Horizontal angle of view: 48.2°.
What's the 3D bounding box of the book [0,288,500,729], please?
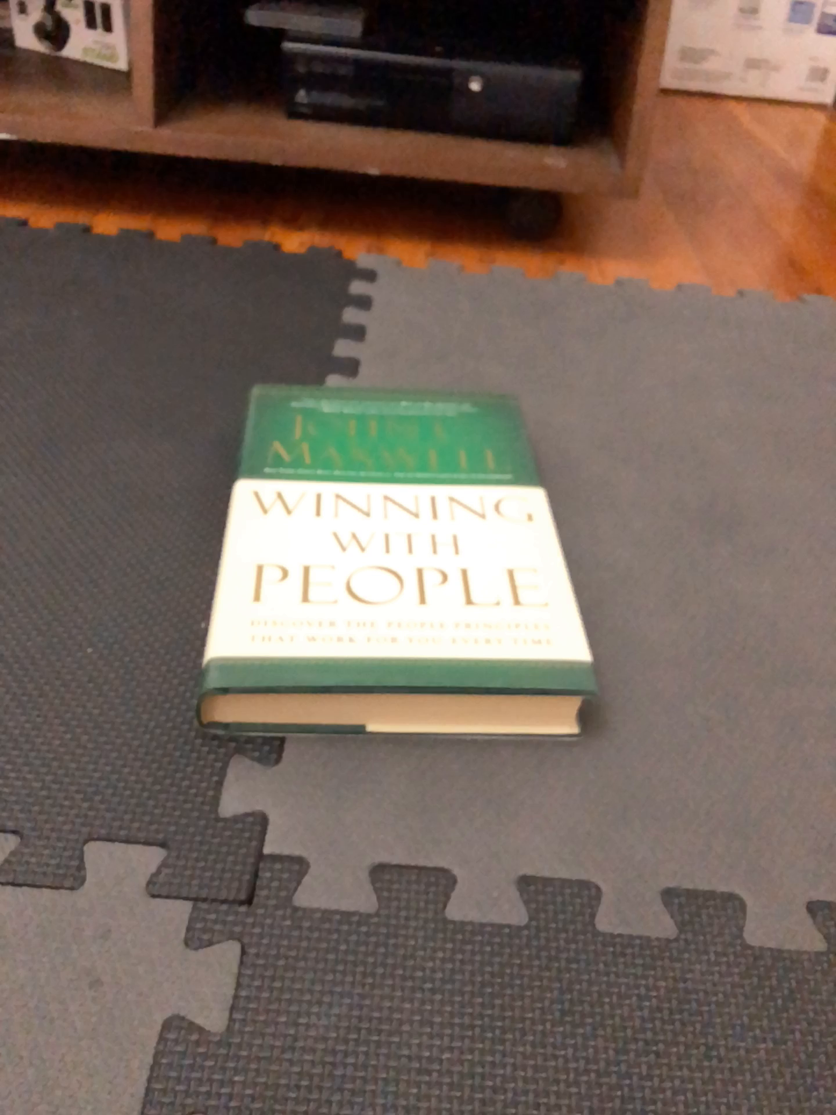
[{"bbox_3d":[-0.076,-0.046,0.433,0.200,0.030,0.292,3,38,-4],"label":"book"}]
